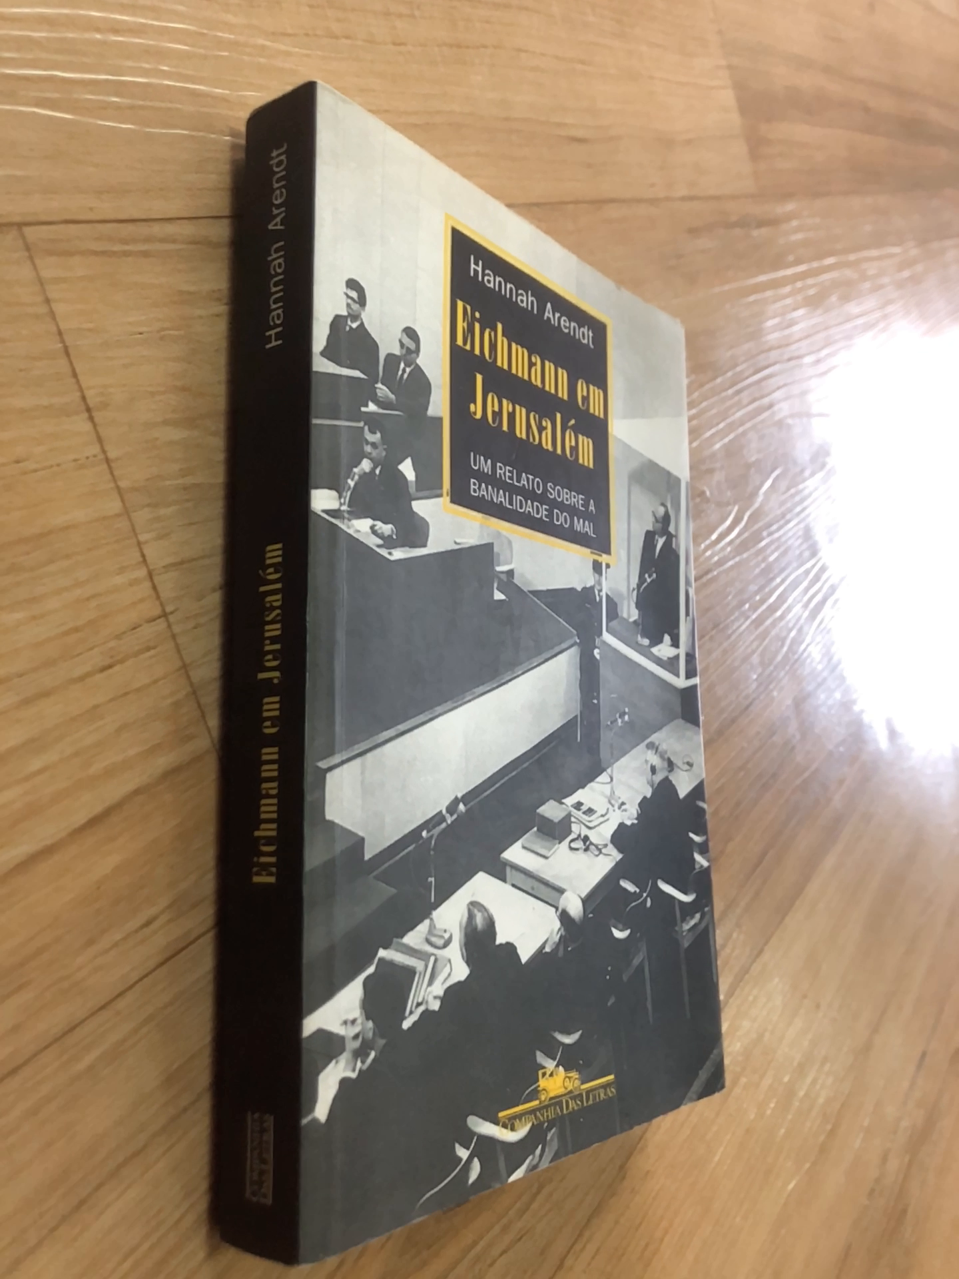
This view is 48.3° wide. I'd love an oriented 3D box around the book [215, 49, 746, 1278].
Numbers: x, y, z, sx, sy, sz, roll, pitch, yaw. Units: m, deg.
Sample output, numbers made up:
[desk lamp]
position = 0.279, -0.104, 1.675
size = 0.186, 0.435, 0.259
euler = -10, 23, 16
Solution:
[book]
position = 0.010, 0.005, 0.236
size = 0.145, 0.023, 0.202
euler = 10, 75, -50
